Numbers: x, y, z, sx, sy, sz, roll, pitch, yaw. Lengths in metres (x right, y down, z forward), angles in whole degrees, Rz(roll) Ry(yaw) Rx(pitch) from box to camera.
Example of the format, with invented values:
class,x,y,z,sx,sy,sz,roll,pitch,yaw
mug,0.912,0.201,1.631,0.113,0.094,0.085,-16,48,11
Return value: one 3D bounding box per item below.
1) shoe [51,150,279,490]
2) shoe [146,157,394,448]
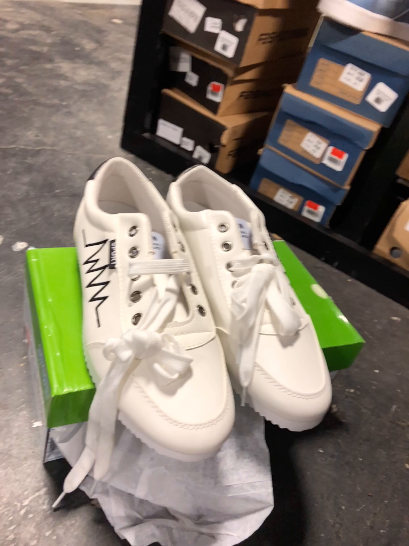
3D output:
class,x,y,z,sx,sy,sz,roll,pitch,yaw
shoe,-0.056,0.005,0.363,0.090,0.079,0.282,-8,44,-22
shoe,0.031,-0.001,0.413,0.090,0.079,0.282,-8,44,-22
